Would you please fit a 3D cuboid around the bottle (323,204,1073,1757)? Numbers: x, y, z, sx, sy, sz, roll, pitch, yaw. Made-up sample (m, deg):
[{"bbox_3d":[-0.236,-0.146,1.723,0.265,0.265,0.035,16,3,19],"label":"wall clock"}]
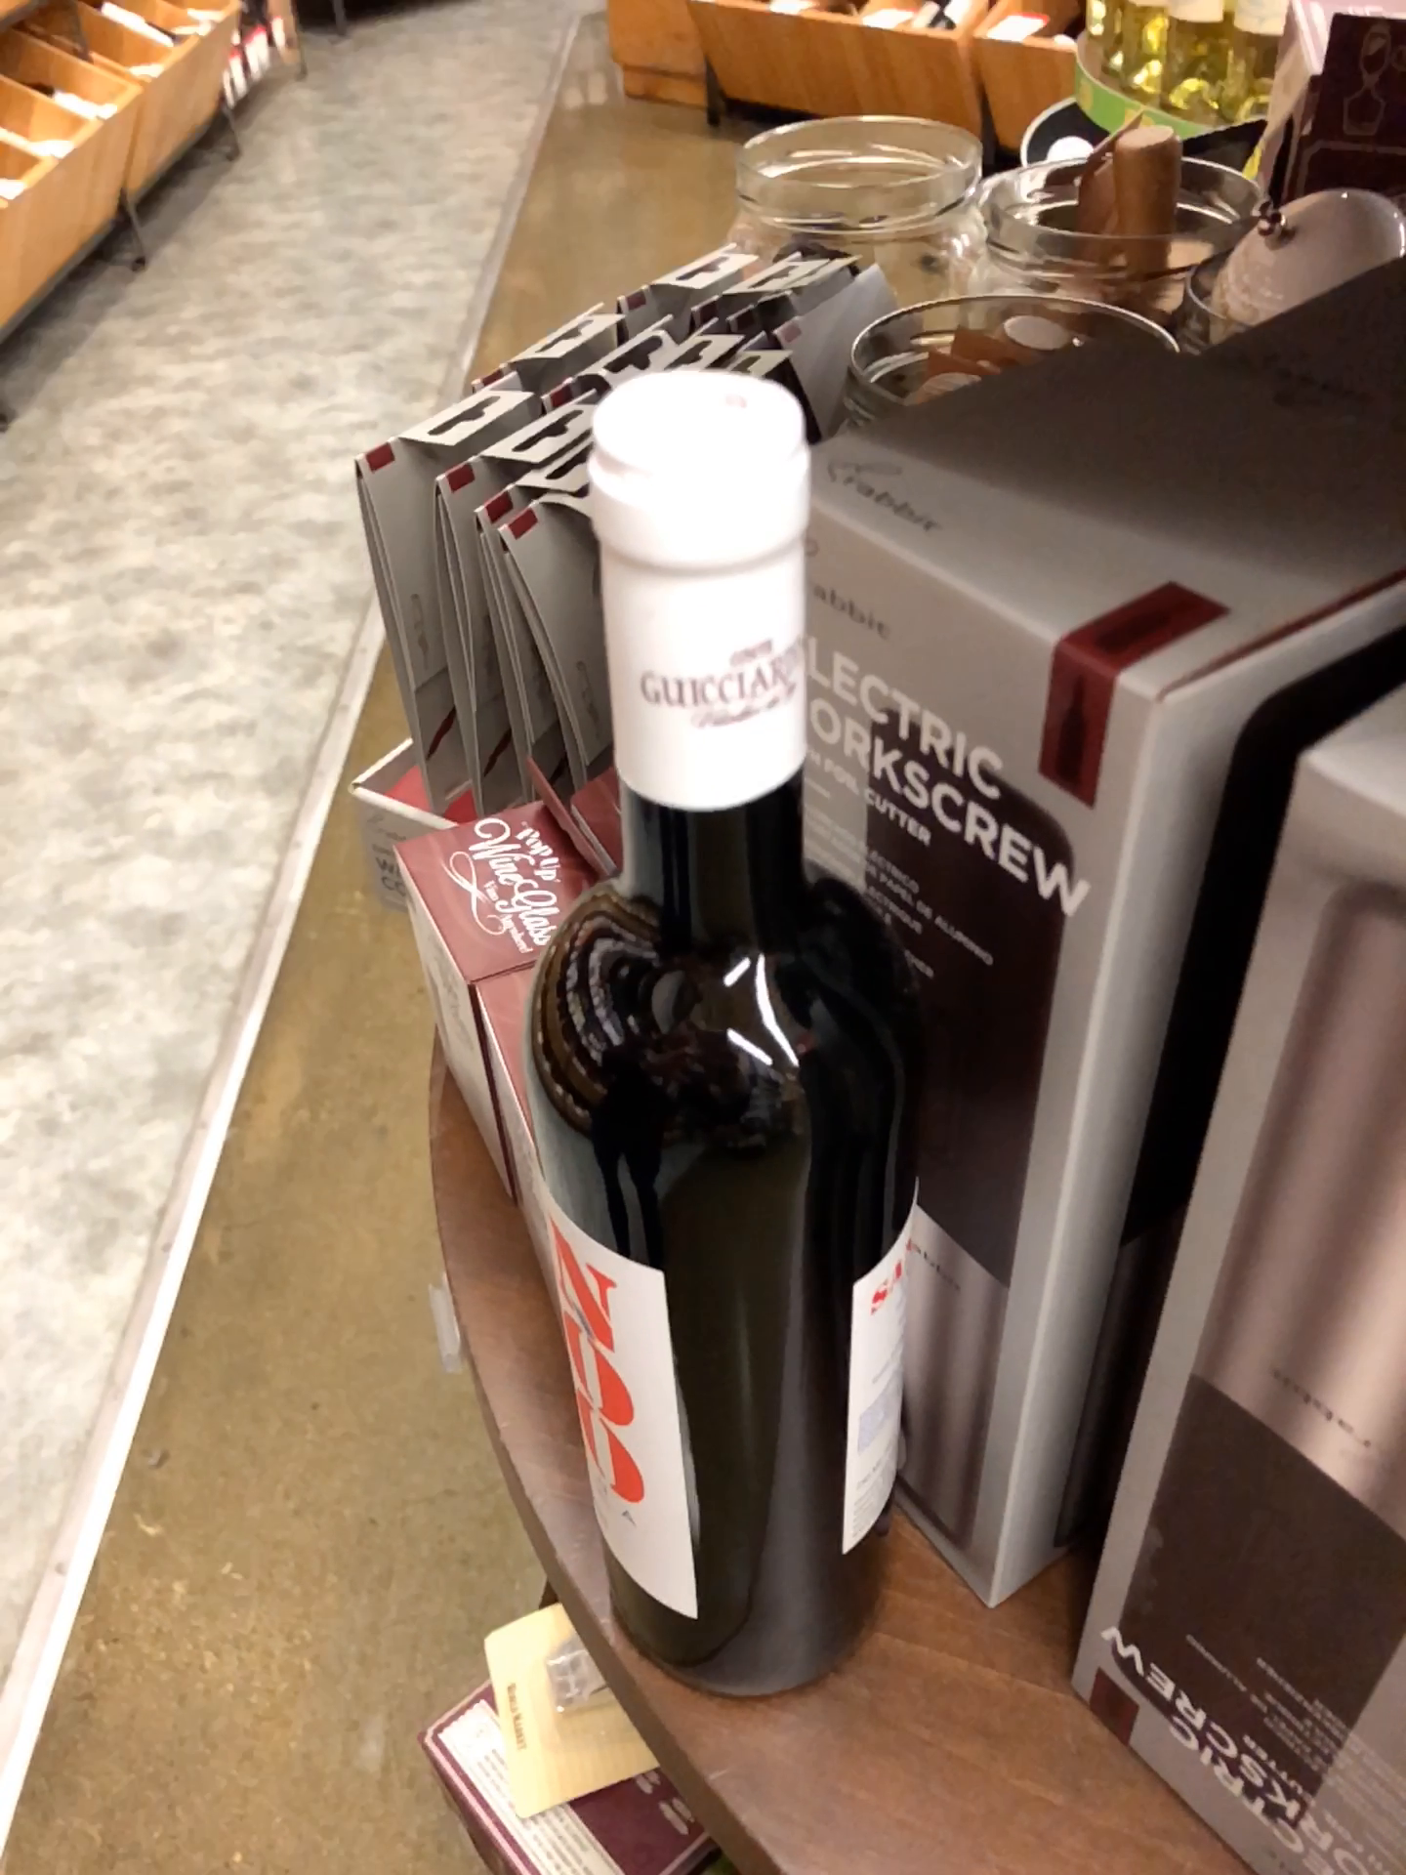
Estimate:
[{"bbox_3d":[0.002,0.040,0.298,0.080,0.309,0.083,-3,40,2],"label":"bottle"}]
